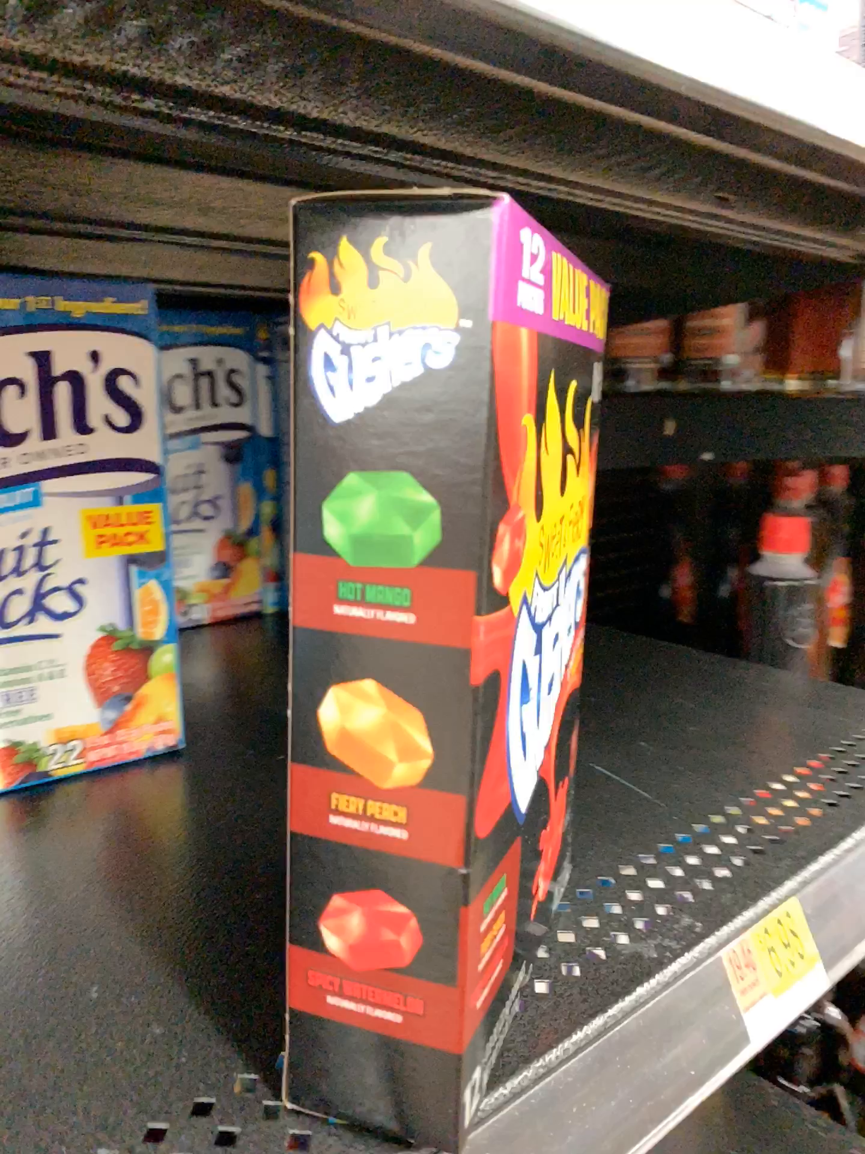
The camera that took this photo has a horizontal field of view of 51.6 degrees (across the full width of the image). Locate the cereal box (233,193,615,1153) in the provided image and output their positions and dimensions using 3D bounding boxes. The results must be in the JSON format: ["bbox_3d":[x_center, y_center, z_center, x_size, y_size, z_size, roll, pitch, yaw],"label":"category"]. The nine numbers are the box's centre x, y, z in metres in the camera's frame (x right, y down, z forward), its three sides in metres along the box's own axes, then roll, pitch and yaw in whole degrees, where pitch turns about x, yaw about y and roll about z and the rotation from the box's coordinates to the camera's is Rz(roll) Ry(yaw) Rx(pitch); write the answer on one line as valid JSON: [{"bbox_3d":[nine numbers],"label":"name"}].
[{"bbox_3d":[0.006,0.024,0.254,0.050,0.219,0.150,7,13,18],"label":"cereal box"}]
